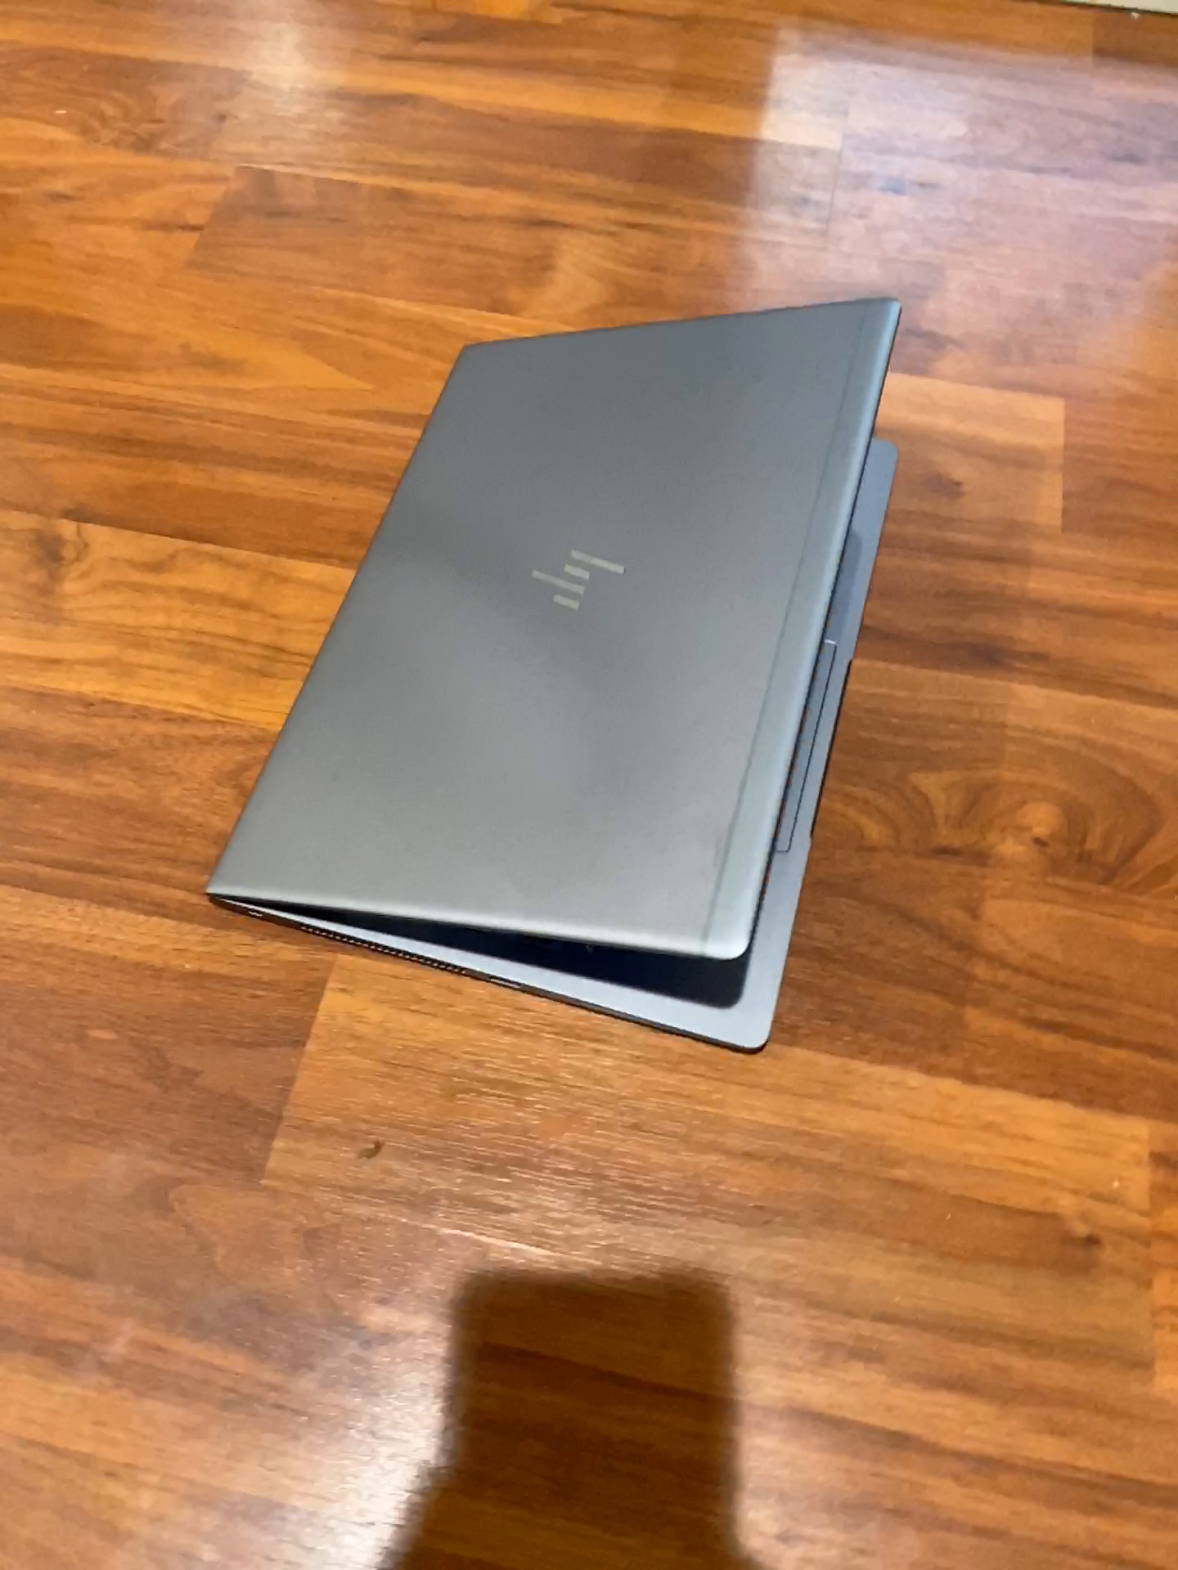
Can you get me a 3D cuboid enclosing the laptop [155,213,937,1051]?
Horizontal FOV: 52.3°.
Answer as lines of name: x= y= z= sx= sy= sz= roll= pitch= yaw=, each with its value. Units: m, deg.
laptop: x=0.002 y=-0.084 z=0.515 sx=0.230 sy=0.078 sz=0.325 roll=15 pitch=63 yaw=6
